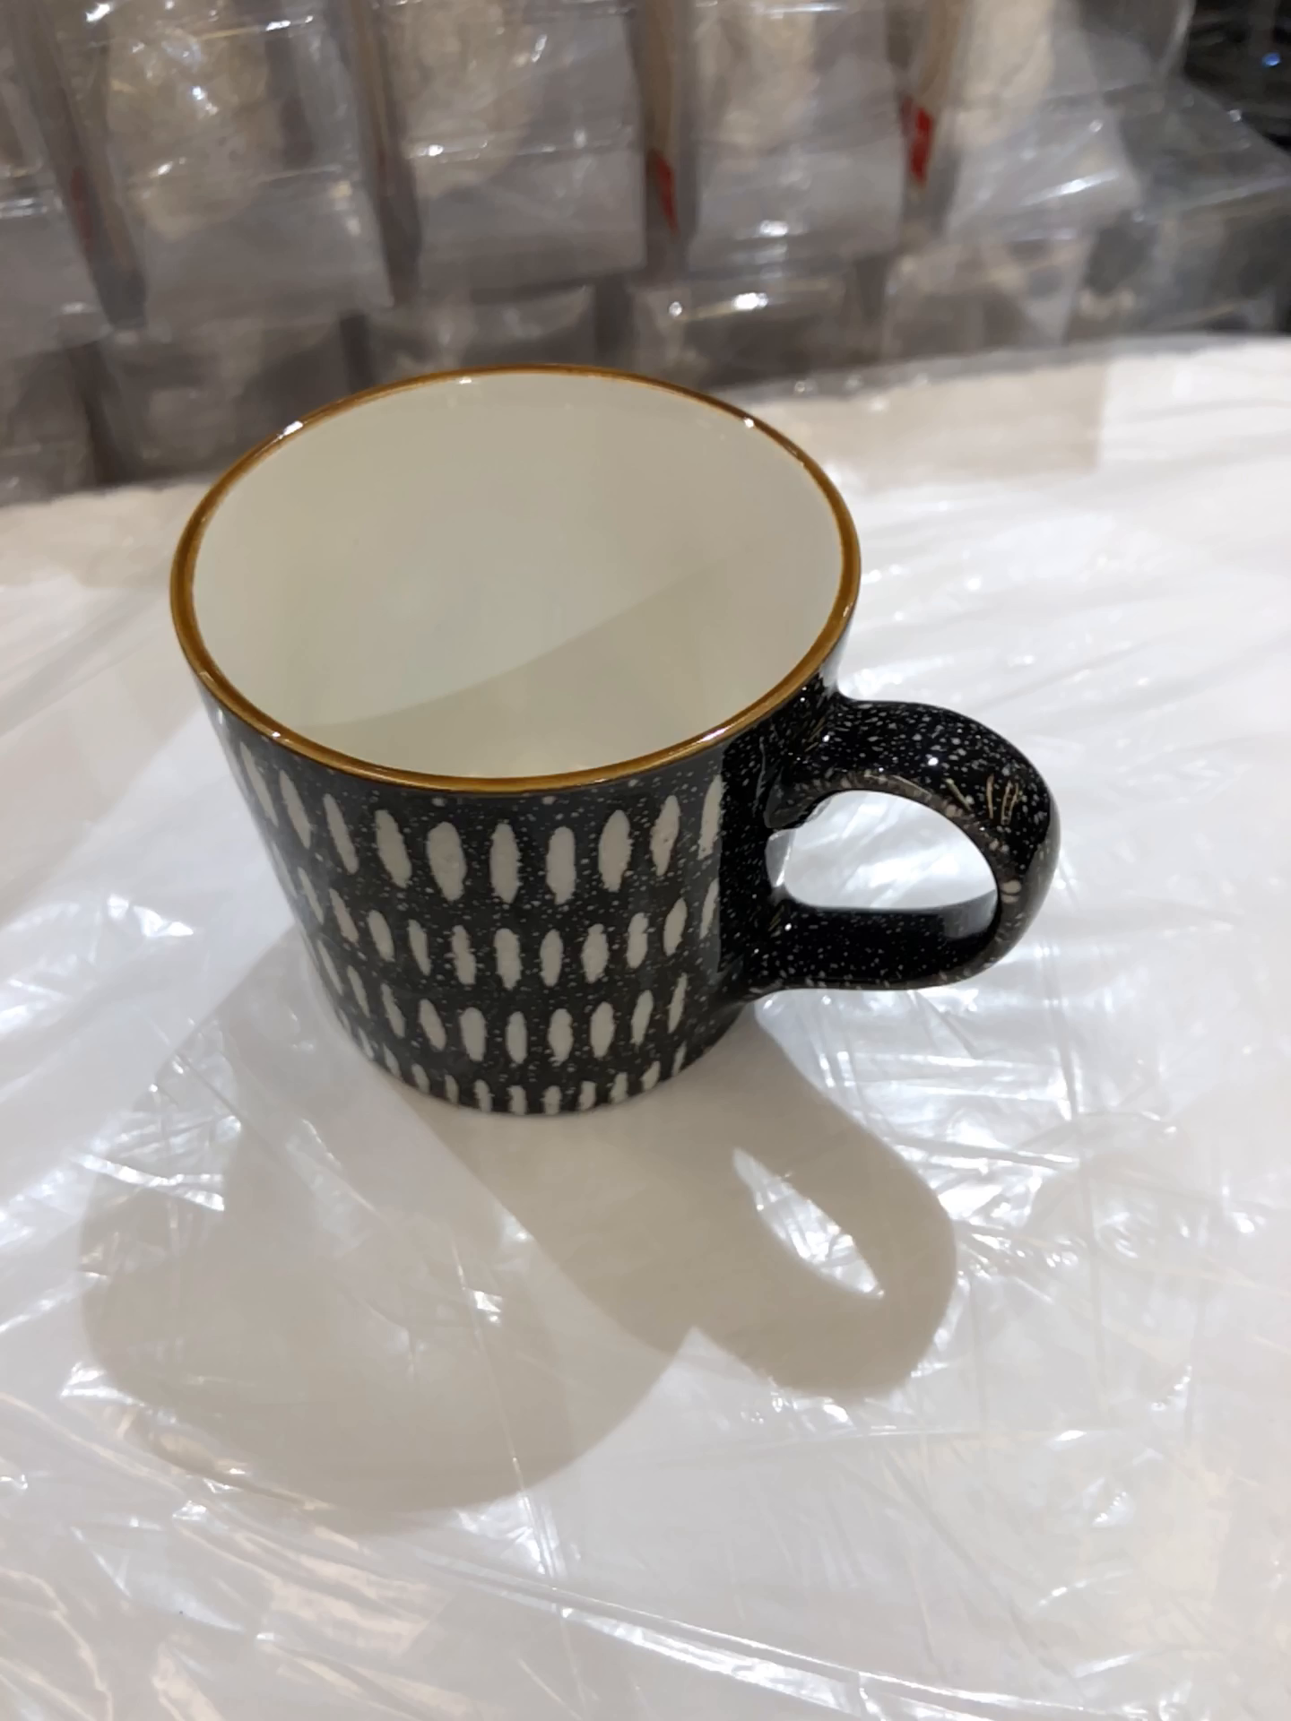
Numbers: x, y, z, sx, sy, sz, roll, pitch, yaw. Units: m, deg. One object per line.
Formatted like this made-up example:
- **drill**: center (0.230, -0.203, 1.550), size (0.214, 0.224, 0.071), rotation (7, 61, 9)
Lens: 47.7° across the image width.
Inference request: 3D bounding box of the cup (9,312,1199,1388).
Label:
- **cup**: center (-0.002, -0.005, 0.194), size (0.110, 0.079, 0.080), rotation (20, 51, 16)
